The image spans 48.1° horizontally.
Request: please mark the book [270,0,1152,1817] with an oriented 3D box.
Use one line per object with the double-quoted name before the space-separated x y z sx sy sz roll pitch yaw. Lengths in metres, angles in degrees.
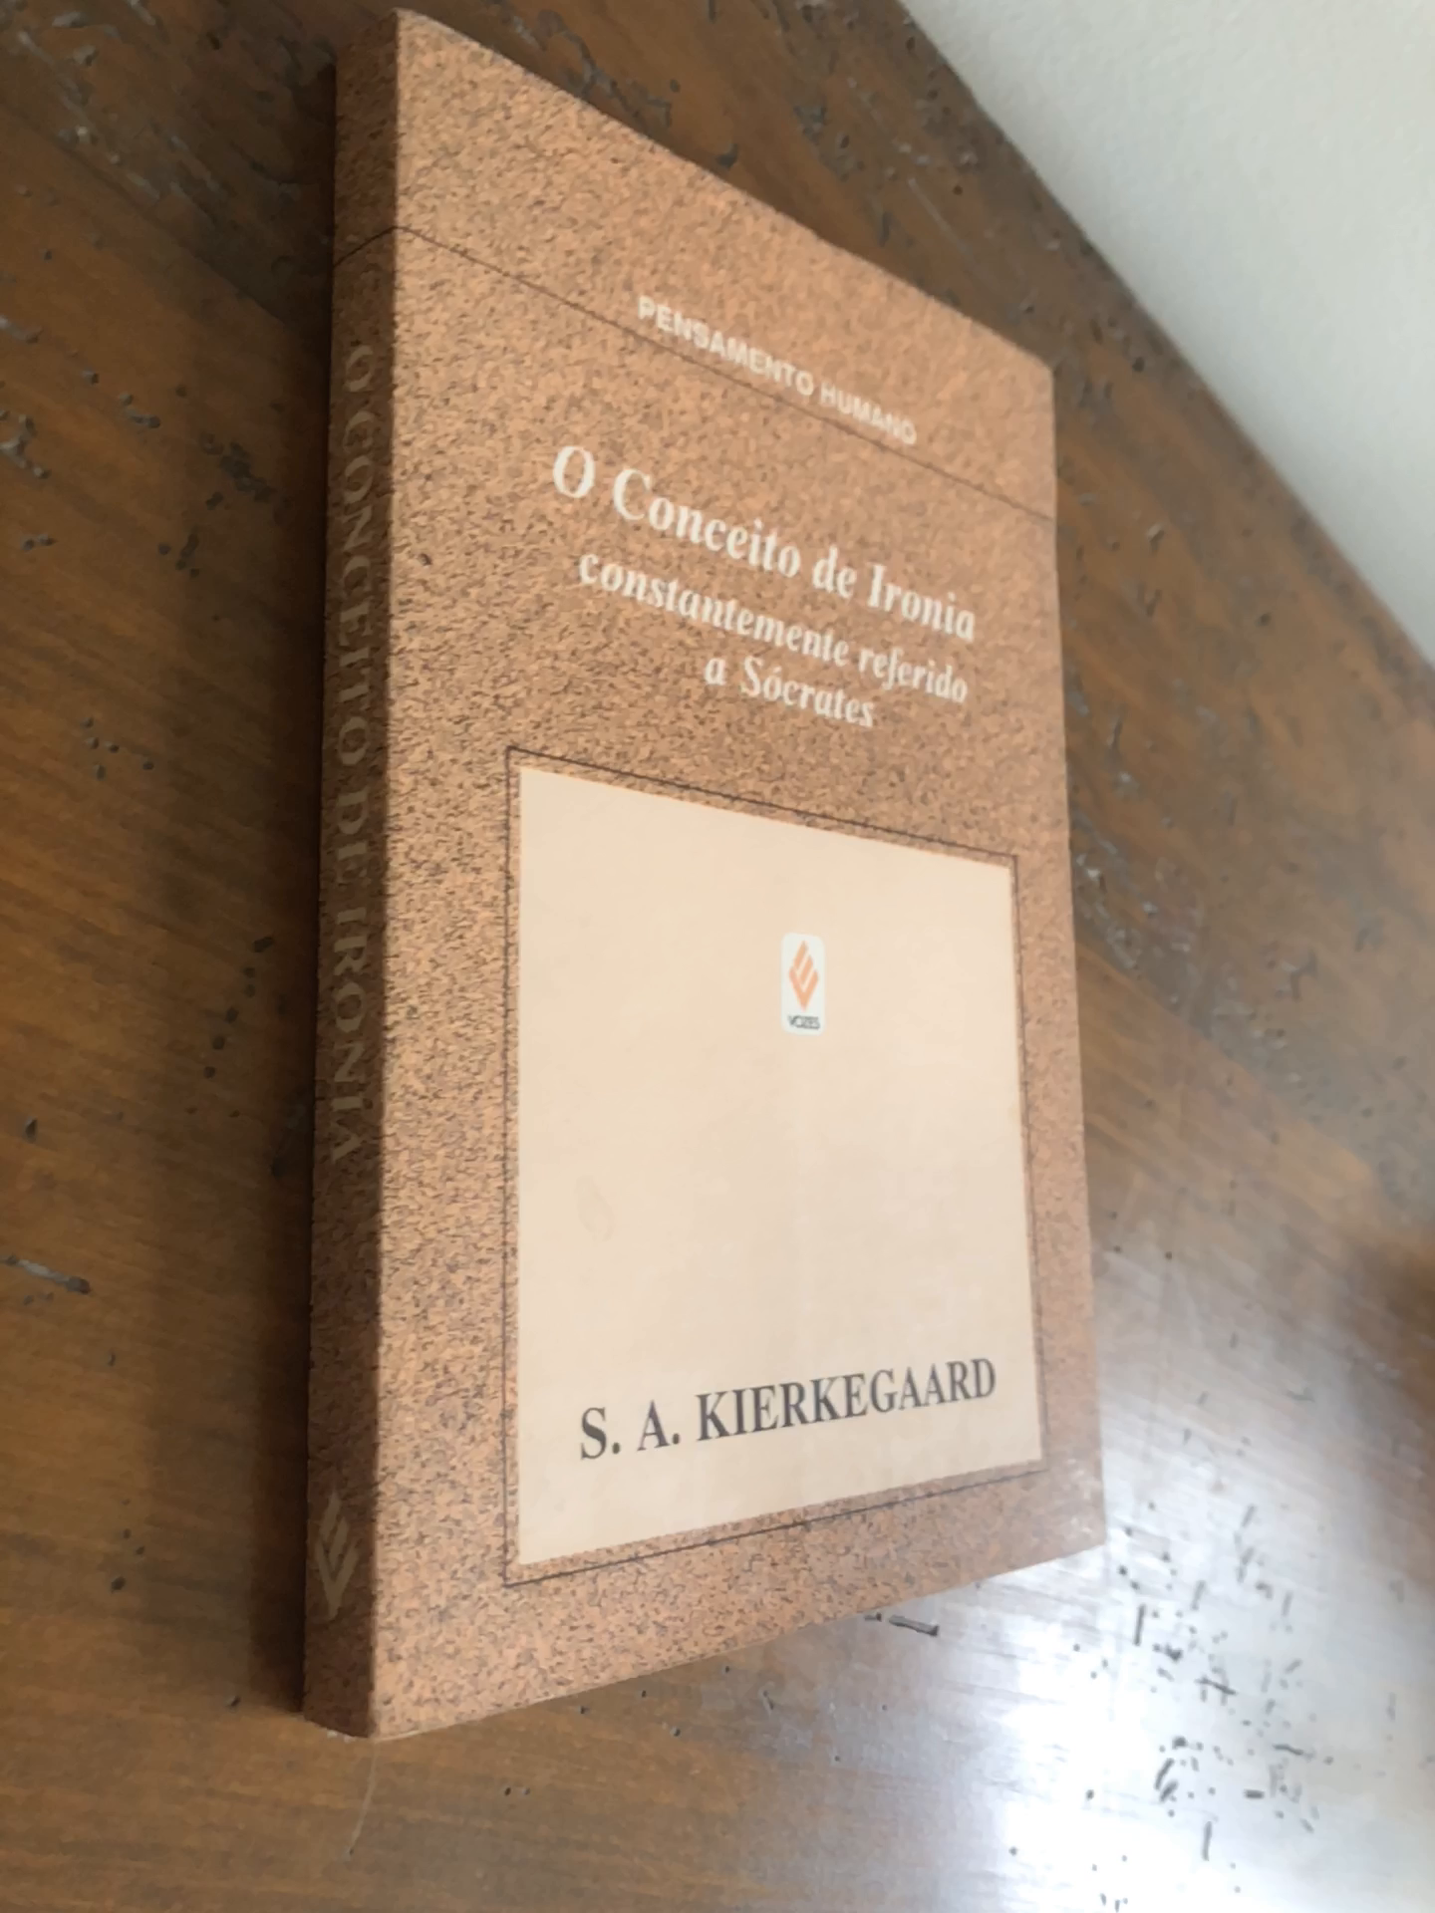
"book" 0.008 -0.013 0.240 0.145 0.024 0.220 7 78 -43
